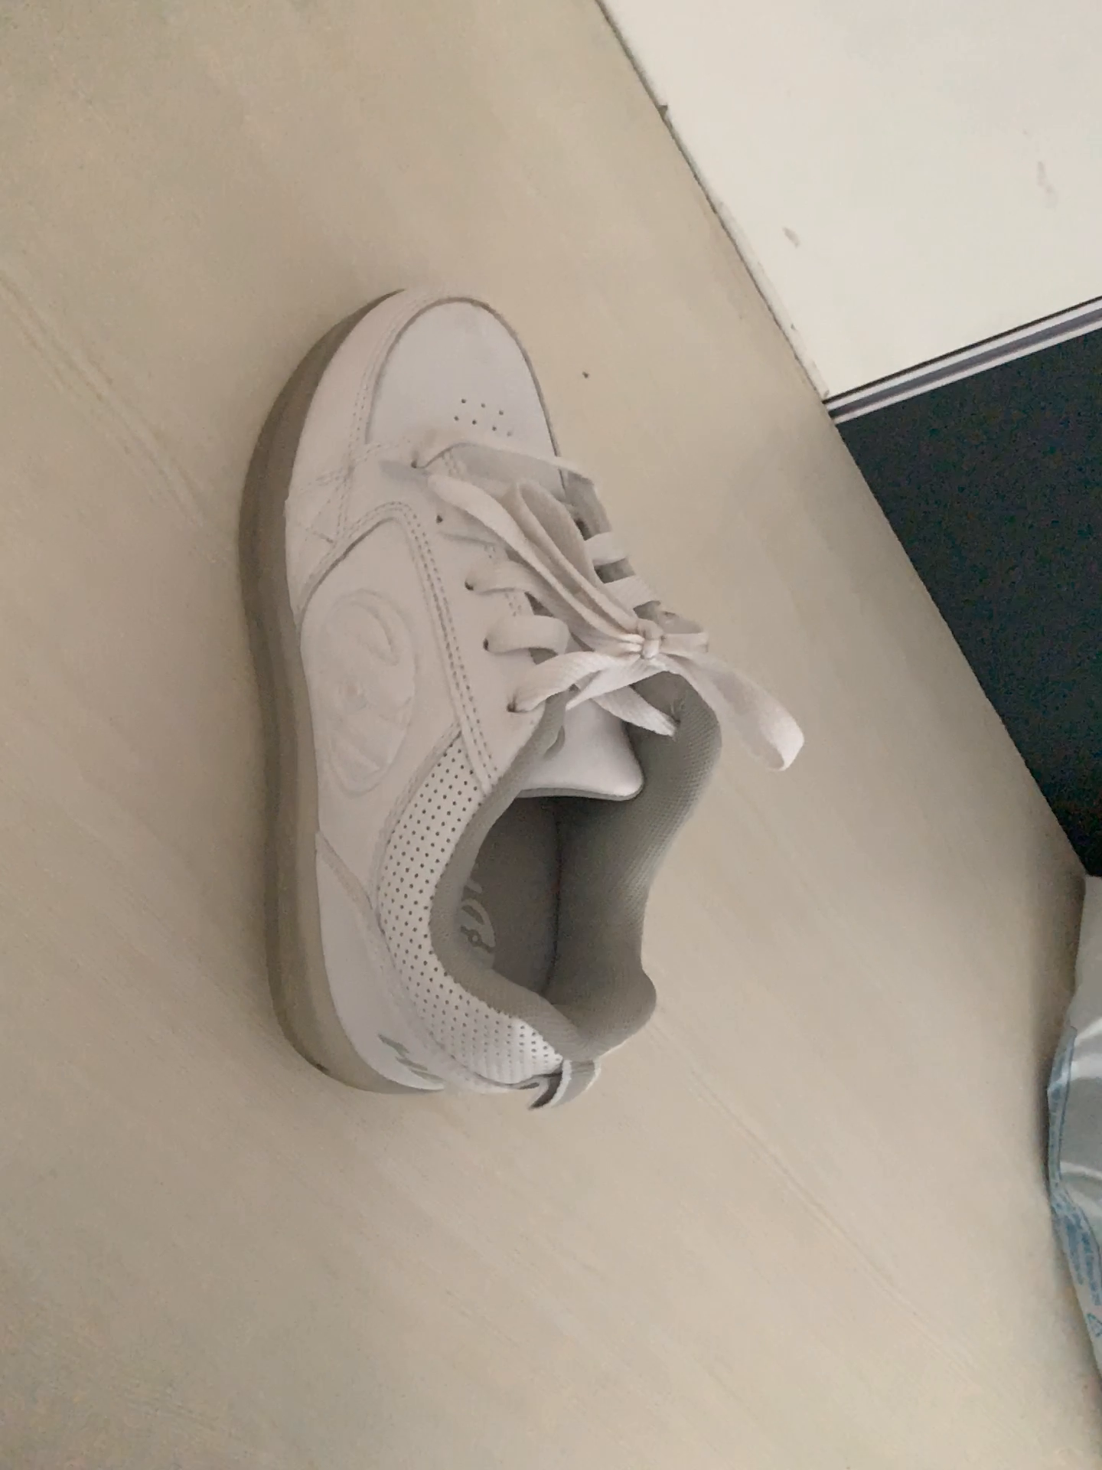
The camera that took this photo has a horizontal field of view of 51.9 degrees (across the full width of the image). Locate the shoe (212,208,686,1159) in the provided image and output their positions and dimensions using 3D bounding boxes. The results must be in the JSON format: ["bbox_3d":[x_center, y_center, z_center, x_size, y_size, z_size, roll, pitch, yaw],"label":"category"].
[{"bbox_3d":[-0.033,-0.009,0.327,0.090,0.090,0.230,8,73,-41],"label":"shoe"}]
